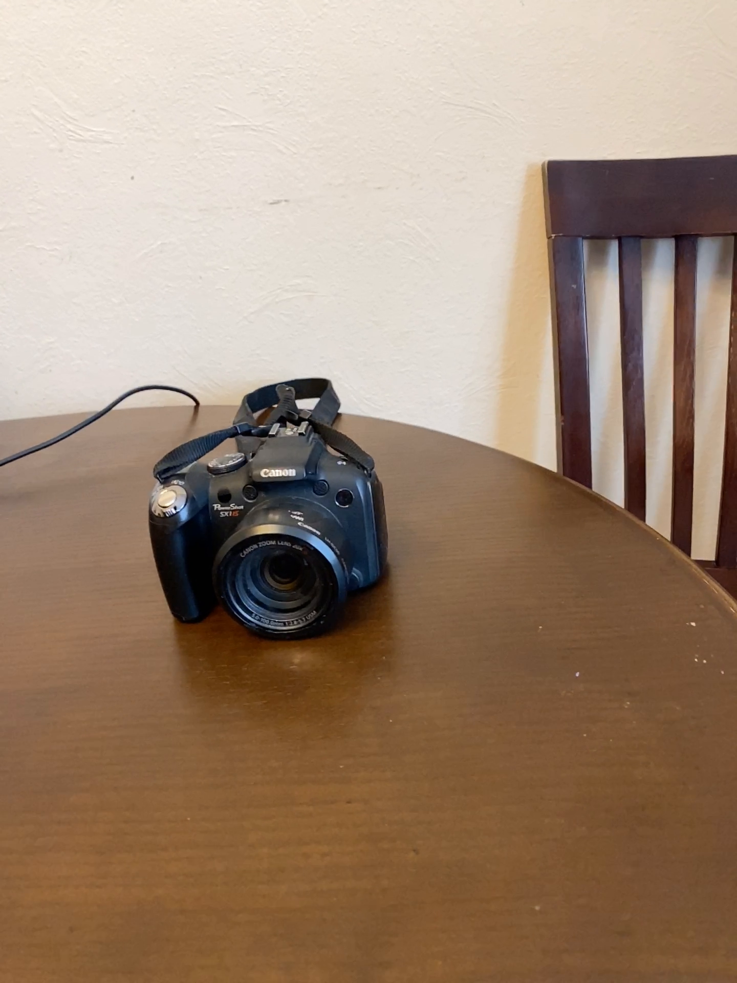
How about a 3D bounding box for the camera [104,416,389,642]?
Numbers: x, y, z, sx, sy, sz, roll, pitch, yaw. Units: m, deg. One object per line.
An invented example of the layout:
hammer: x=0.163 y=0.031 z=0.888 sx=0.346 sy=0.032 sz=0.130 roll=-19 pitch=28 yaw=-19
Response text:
camera: x=-0.056 y=0.018 z=0.400 sx=0.123 sy=0.088 sz=0.082 roll=-2 pitch=24 yaw=6
